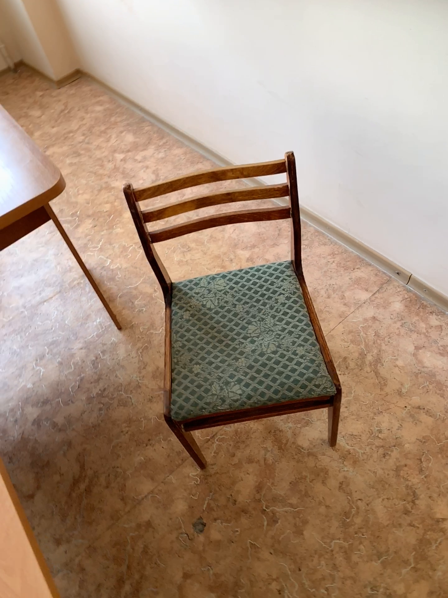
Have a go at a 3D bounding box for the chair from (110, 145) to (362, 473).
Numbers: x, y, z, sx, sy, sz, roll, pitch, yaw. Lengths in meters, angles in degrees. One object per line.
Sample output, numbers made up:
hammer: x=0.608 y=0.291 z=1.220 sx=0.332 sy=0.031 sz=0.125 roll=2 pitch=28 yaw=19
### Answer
chair: x=0.041 y=0.083 z=1.112 sx=0.400 sy=0.705 sz=0.404 roll=-11 pitch=53 yaw=2
